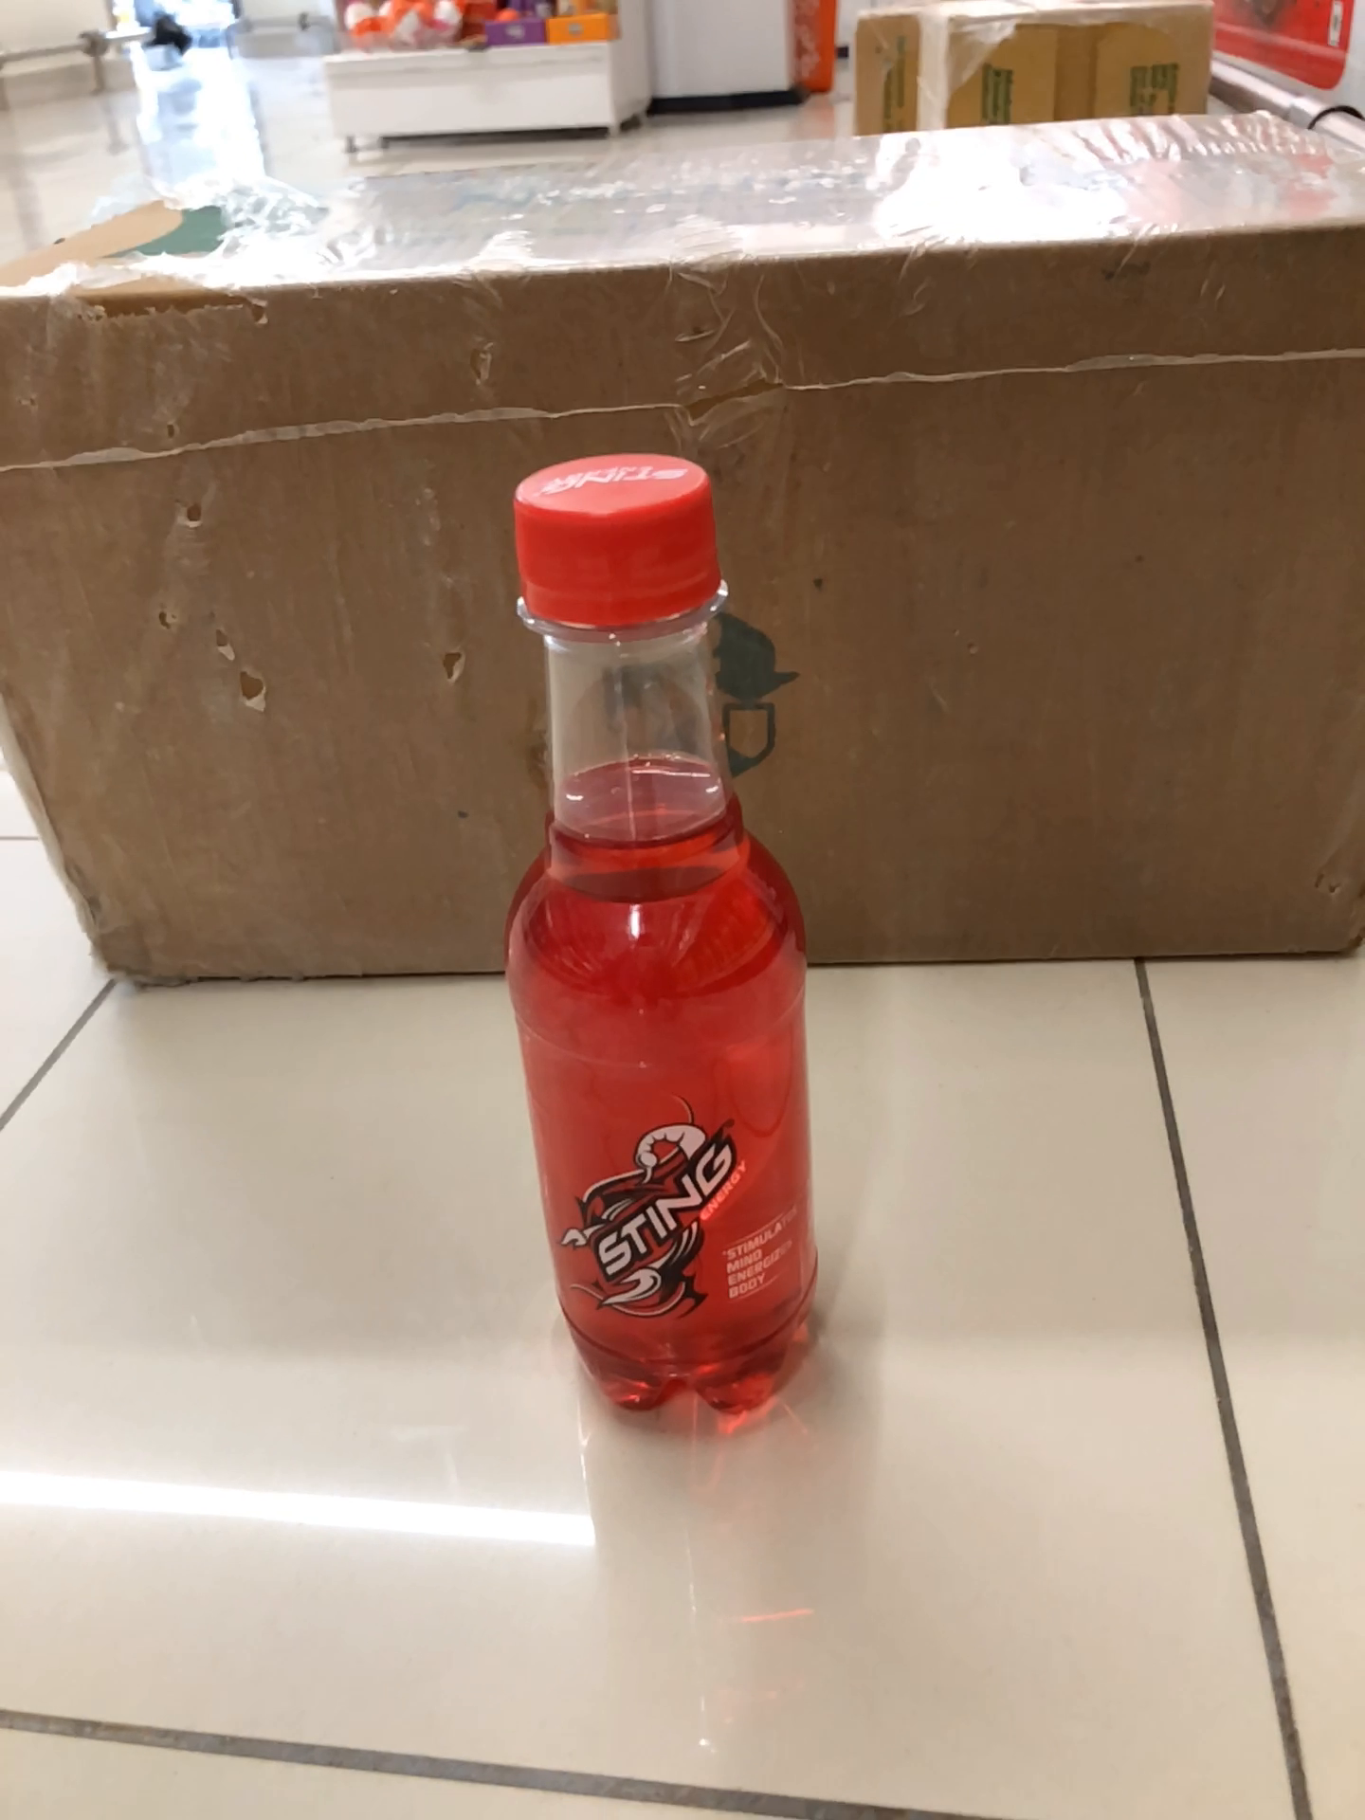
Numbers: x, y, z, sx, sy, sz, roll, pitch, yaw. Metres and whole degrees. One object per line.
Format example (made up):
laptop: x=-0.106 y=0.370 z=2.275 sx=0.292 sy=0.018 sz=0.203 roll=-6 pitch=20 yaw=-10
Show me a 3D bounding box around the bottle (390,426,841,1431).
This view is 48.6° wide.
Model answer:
bottle: x=-0.002 y=0.010 z=0.281 sx=0.060 sy=0.179 sz=0.060 roll=-3 pitch=31 yaw=2
